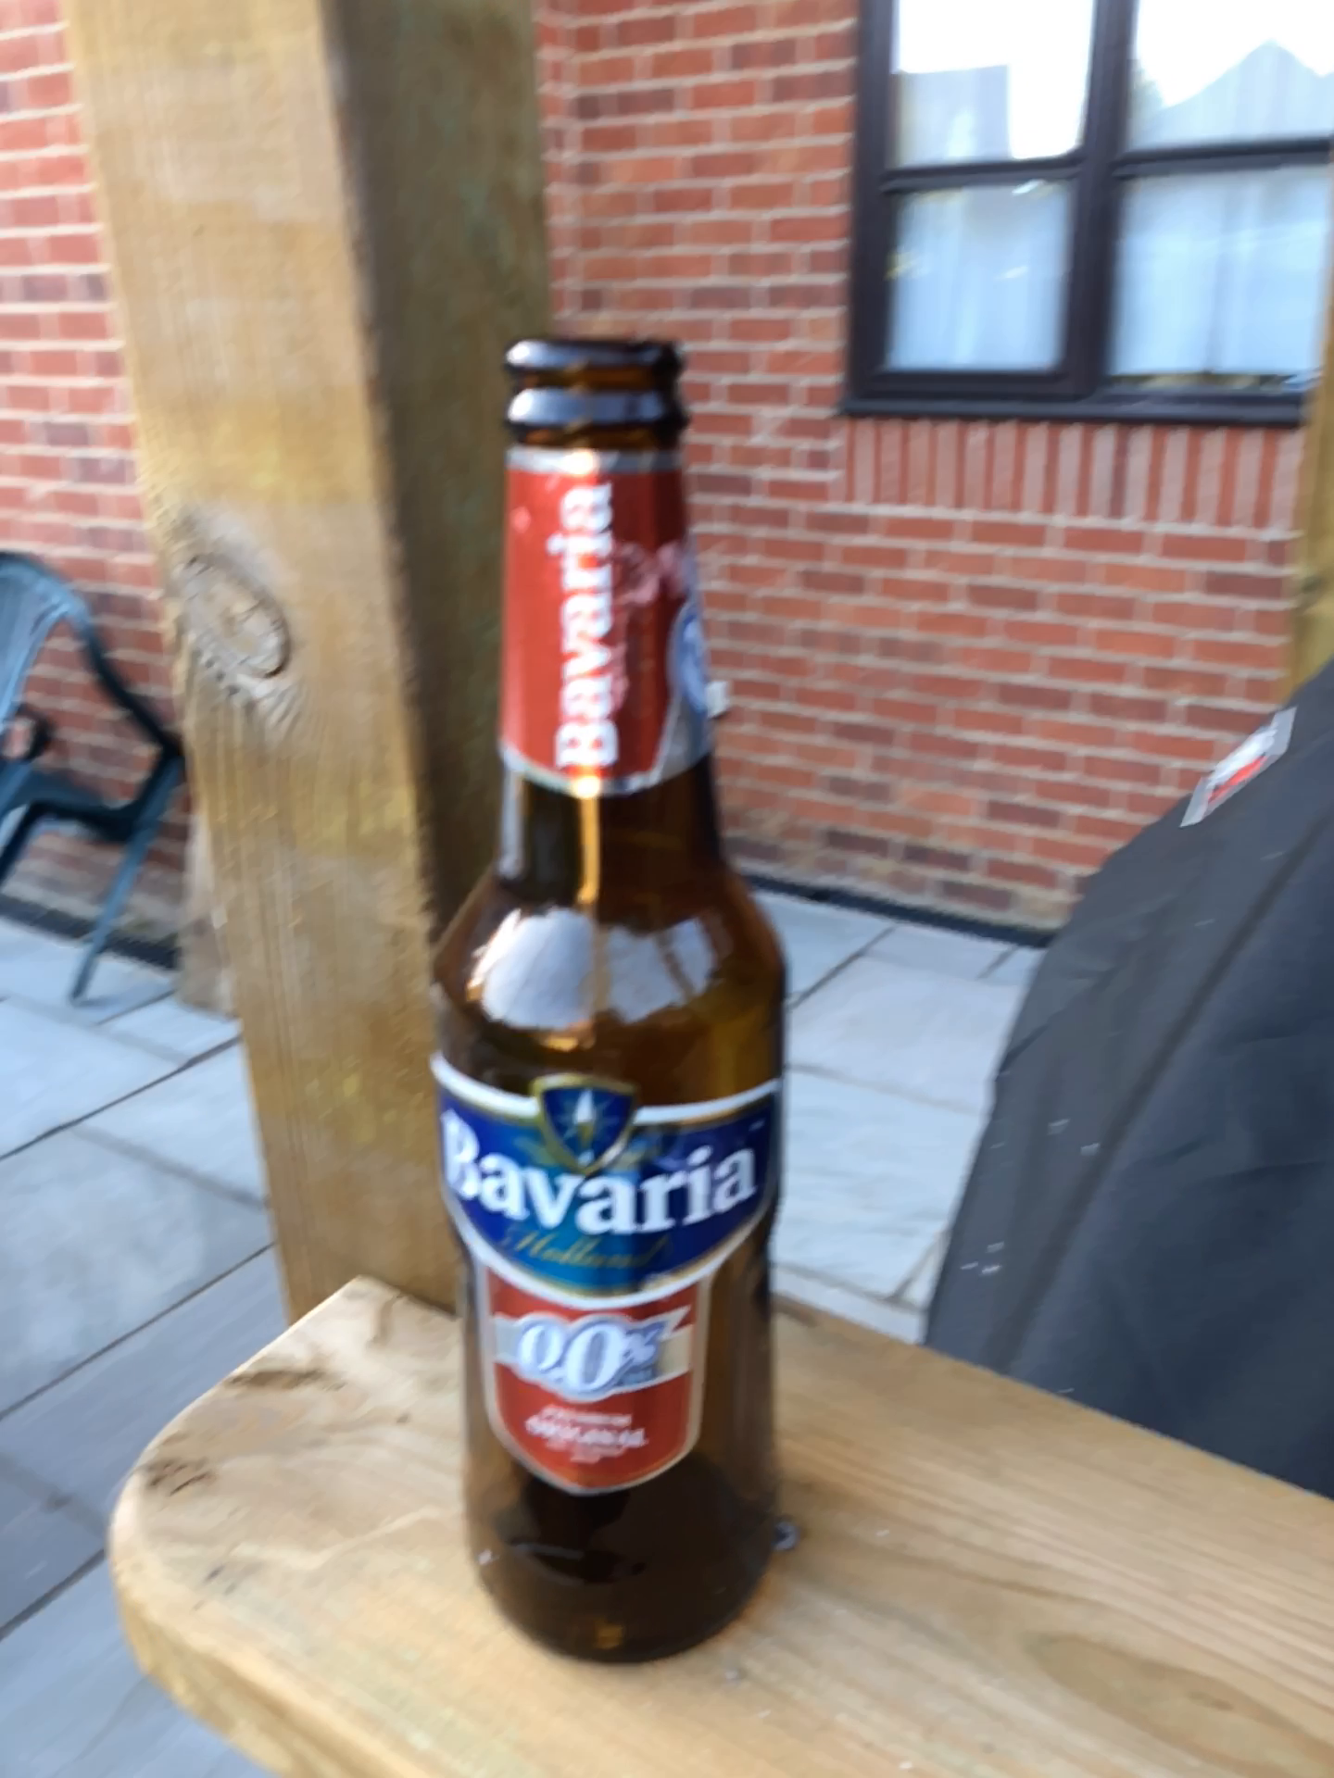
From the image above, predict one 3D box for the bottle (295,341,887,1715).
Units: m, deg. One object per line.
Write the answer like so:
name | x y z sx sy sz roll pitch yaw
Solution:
bottle | -0.006 0.023 0.238 0.070 0.209 0.060 3 19 10
